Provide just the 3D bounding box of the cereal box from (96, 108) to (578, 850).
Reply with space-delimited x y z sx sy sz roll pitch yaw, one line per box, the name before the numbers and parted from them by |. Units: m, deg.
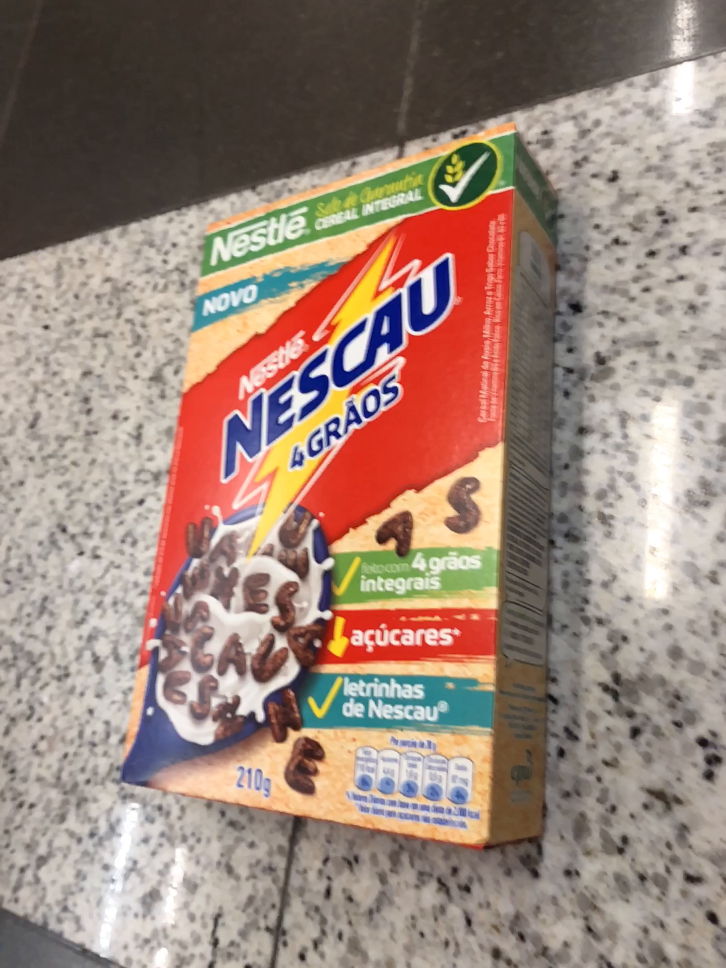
cereal box | -0.008 -0.003 0.316 0.171 0.050 0.240 -5 71 33
